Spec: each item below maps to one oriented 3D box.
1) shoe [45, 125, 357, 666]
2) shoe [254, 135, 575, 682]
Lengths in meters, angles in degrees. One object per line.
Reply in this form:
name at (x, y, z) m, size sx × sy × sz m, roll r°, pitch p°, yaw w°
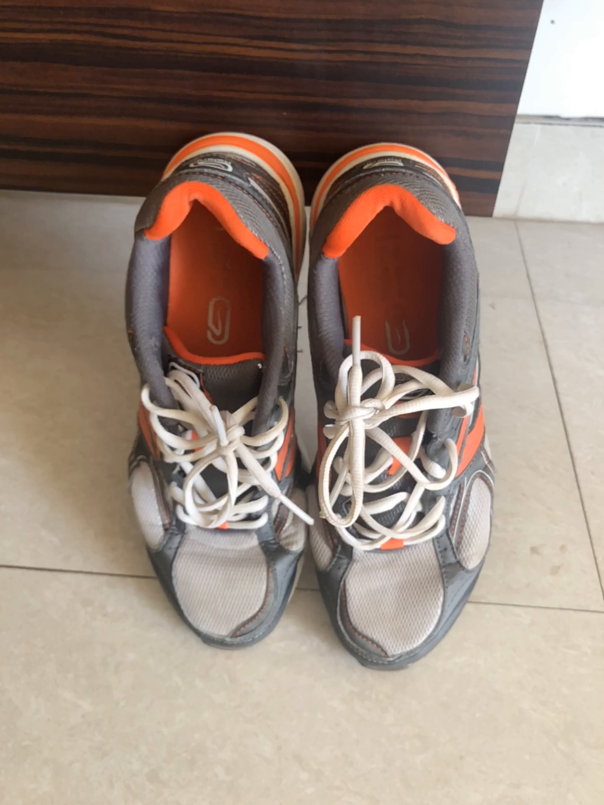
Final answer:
shoe at (-0.041, -0.001, 0.361) m, size 0.120 × 0.269 × 0.100 m, roll -1°, pitch 24°, yaw -2°
shoe at (0.048, 0.001, 0.354) m, size 0.120 × 0.259 × 0.110 m, roll 1°, pitch 22°, yaw 5°
